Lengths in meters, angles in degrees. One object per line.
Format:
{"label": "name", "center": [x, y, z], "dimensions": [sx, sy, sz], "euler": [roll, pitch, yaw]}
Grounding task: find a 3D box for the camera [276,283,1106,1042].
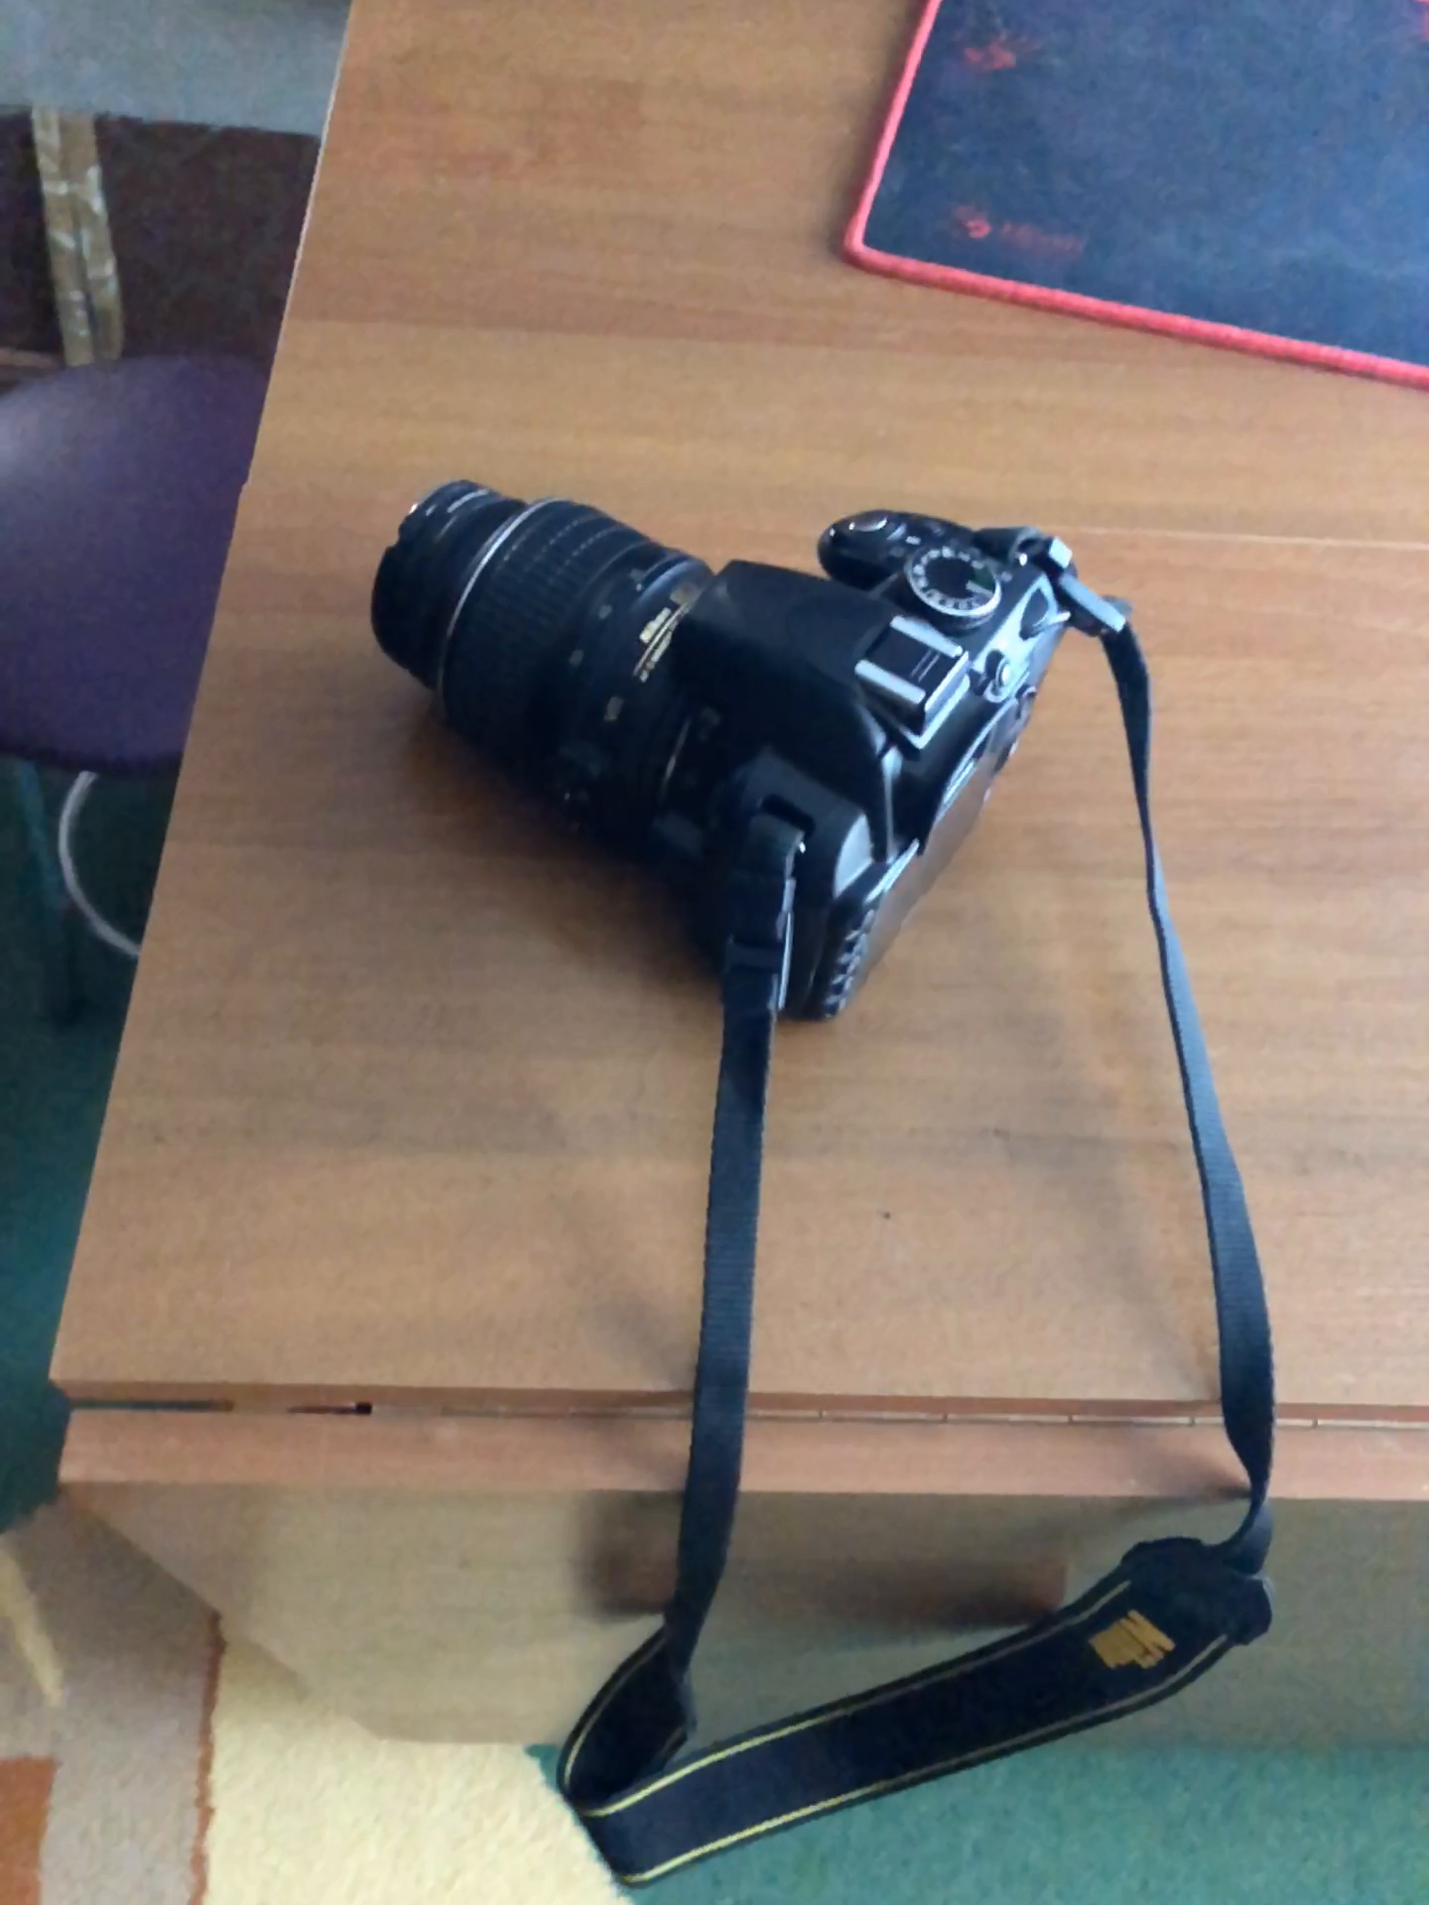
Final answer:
{"label": "camera", "center": [-0.007, -0.077, 0.406], "dimensions": [0.161, 0.078, 0.111], "euler": [32, 61, 14]}
